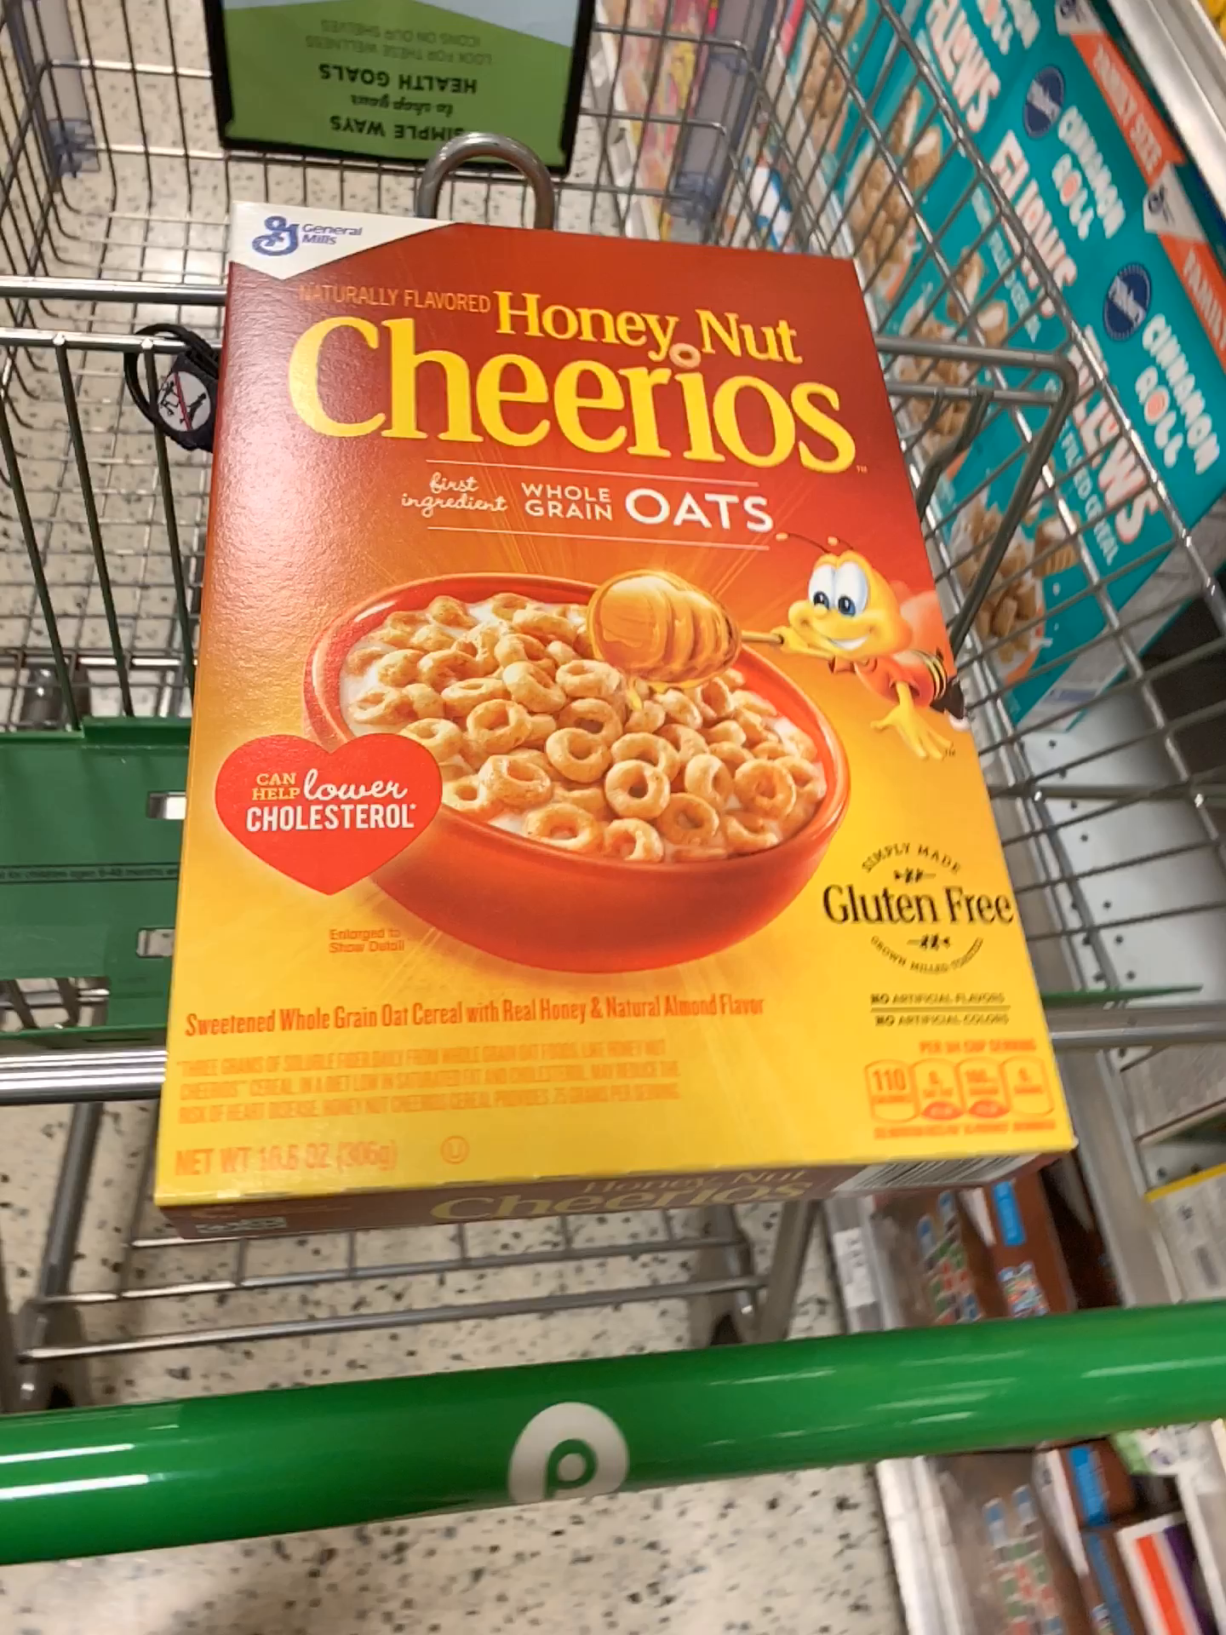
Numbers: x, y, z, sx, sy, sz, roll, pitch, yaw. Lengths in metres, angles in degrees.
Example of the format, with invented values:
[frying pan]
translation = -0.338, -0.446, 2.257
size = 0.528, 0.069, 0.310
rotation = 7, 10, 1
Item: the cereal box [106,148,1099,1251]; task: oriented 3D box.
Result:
[cereal box]
translation = -0.013, -0.047, 0.341
size = 0.200, 0.060, 0.292
rotation = 0, 63, -11
